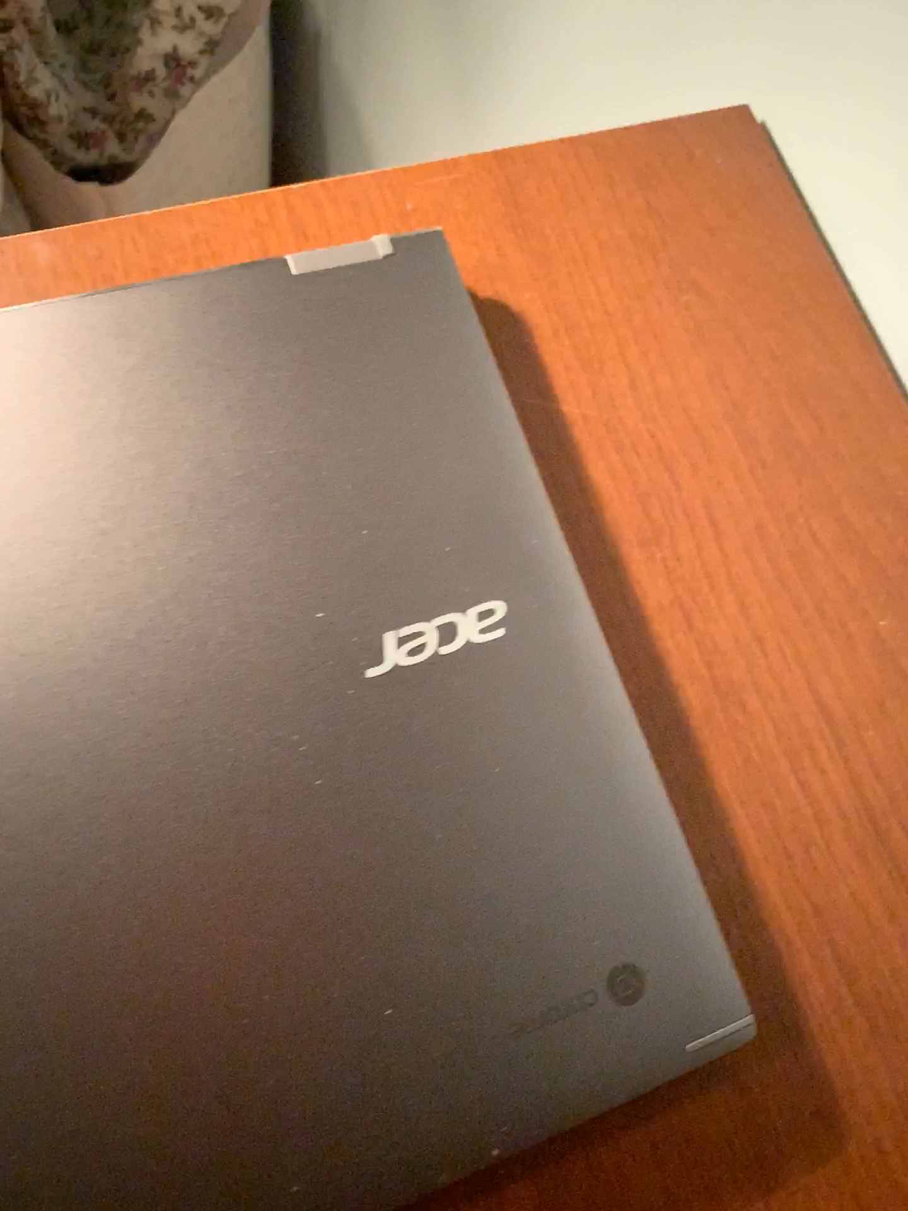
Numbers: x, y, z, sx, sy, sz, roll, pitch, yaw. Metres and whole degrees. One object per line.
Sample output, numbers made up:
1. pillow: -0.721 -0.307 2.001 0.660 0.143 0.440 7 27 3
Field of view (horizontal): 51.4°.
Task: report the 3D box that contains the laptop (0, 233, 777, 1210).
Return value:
1. laptop: -0.099 0.036 0.216 0.299 0.002 0.232 -16 76 -15
